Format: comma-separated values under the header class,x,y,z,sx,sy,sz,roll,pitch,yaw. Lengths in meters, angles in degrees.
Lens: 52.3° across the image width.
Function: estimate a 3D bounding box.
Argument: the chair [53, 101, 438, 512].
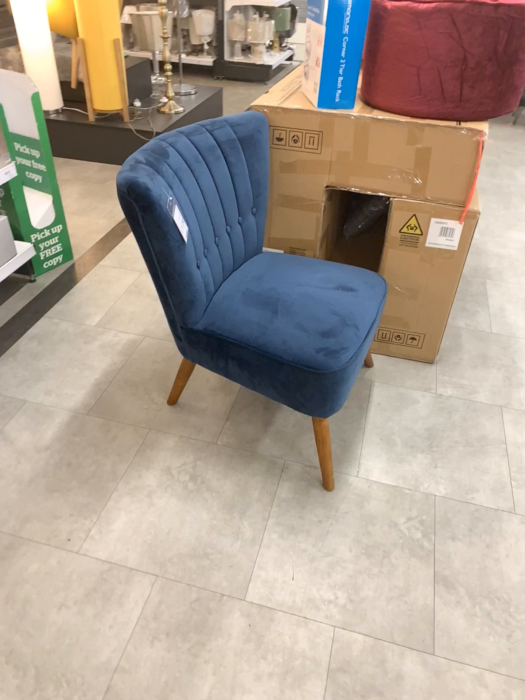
class,x,y,z,sx,sy,sz,roll,pitch,yaw
chair,0.009,-0.176,1.557,0.726,0.789,0.736,15,39,15
